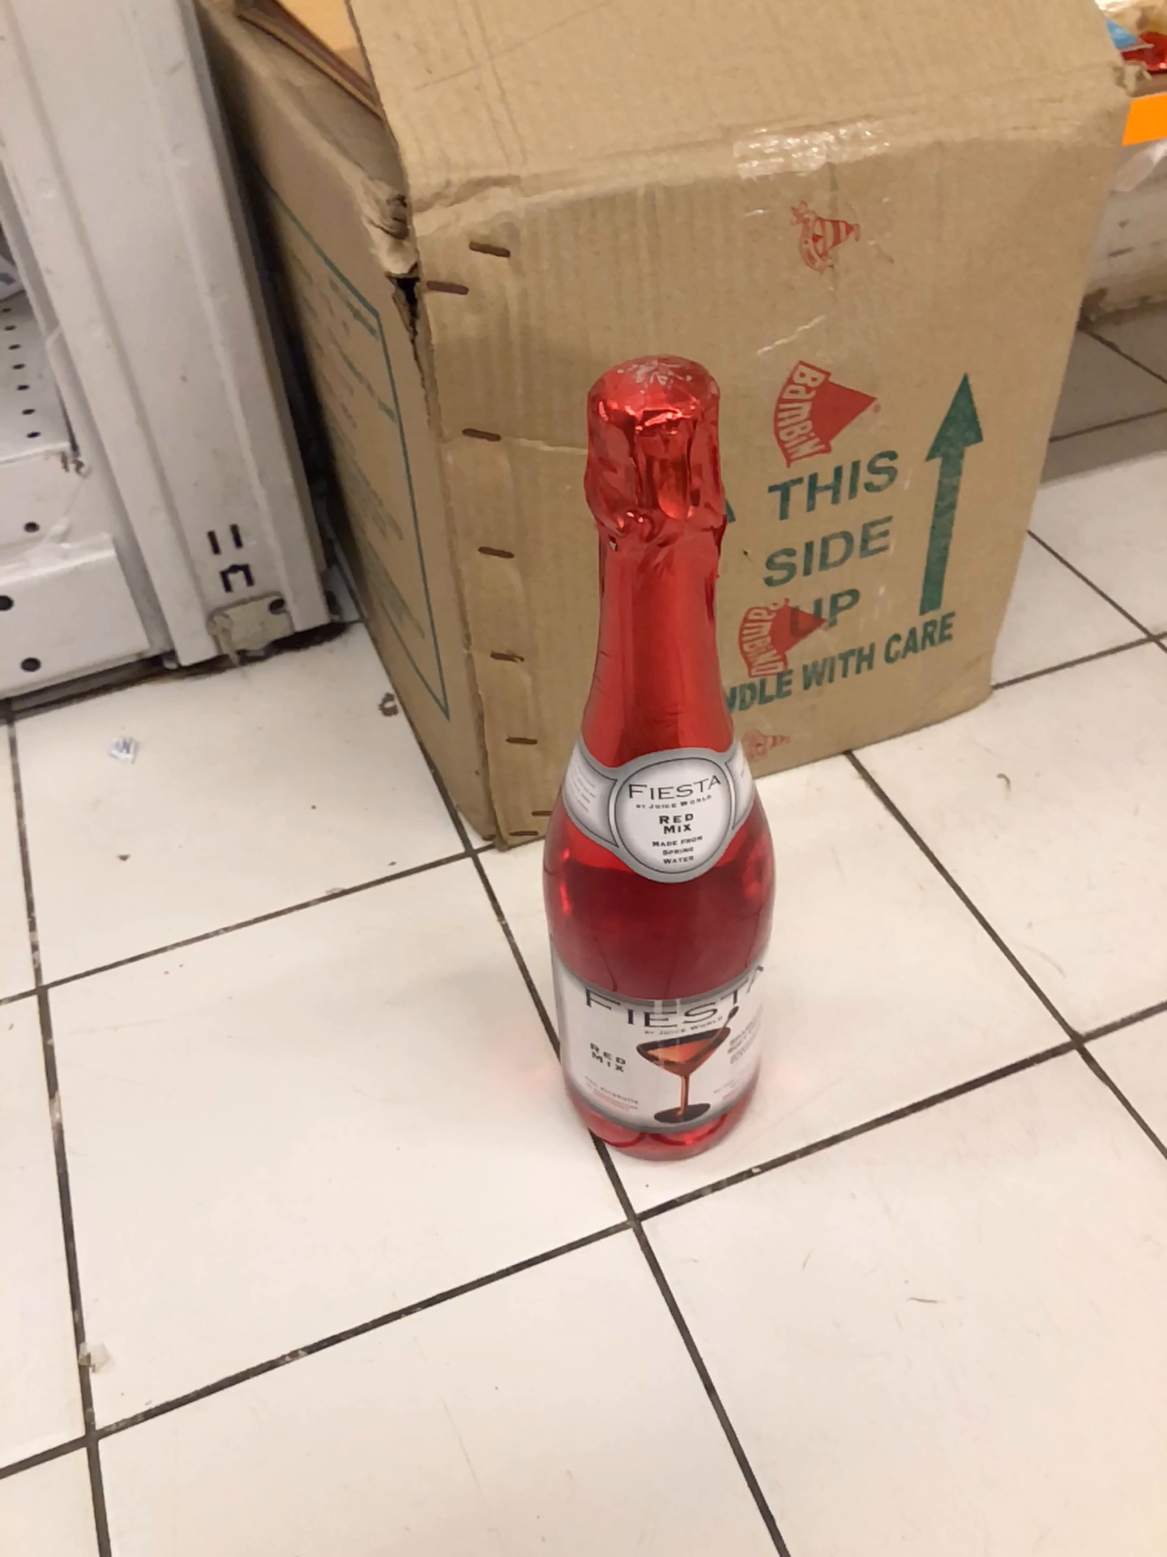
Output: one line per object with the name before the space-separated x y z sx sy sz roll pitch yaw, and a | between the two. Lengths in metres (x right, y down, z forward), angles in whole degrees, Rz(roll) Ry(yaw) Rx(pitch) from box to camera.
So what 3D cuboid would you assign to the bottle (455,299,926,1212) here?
bottle | 0.028 0.017 0.409 0.090 0.298 0.080 -13 45 -9
